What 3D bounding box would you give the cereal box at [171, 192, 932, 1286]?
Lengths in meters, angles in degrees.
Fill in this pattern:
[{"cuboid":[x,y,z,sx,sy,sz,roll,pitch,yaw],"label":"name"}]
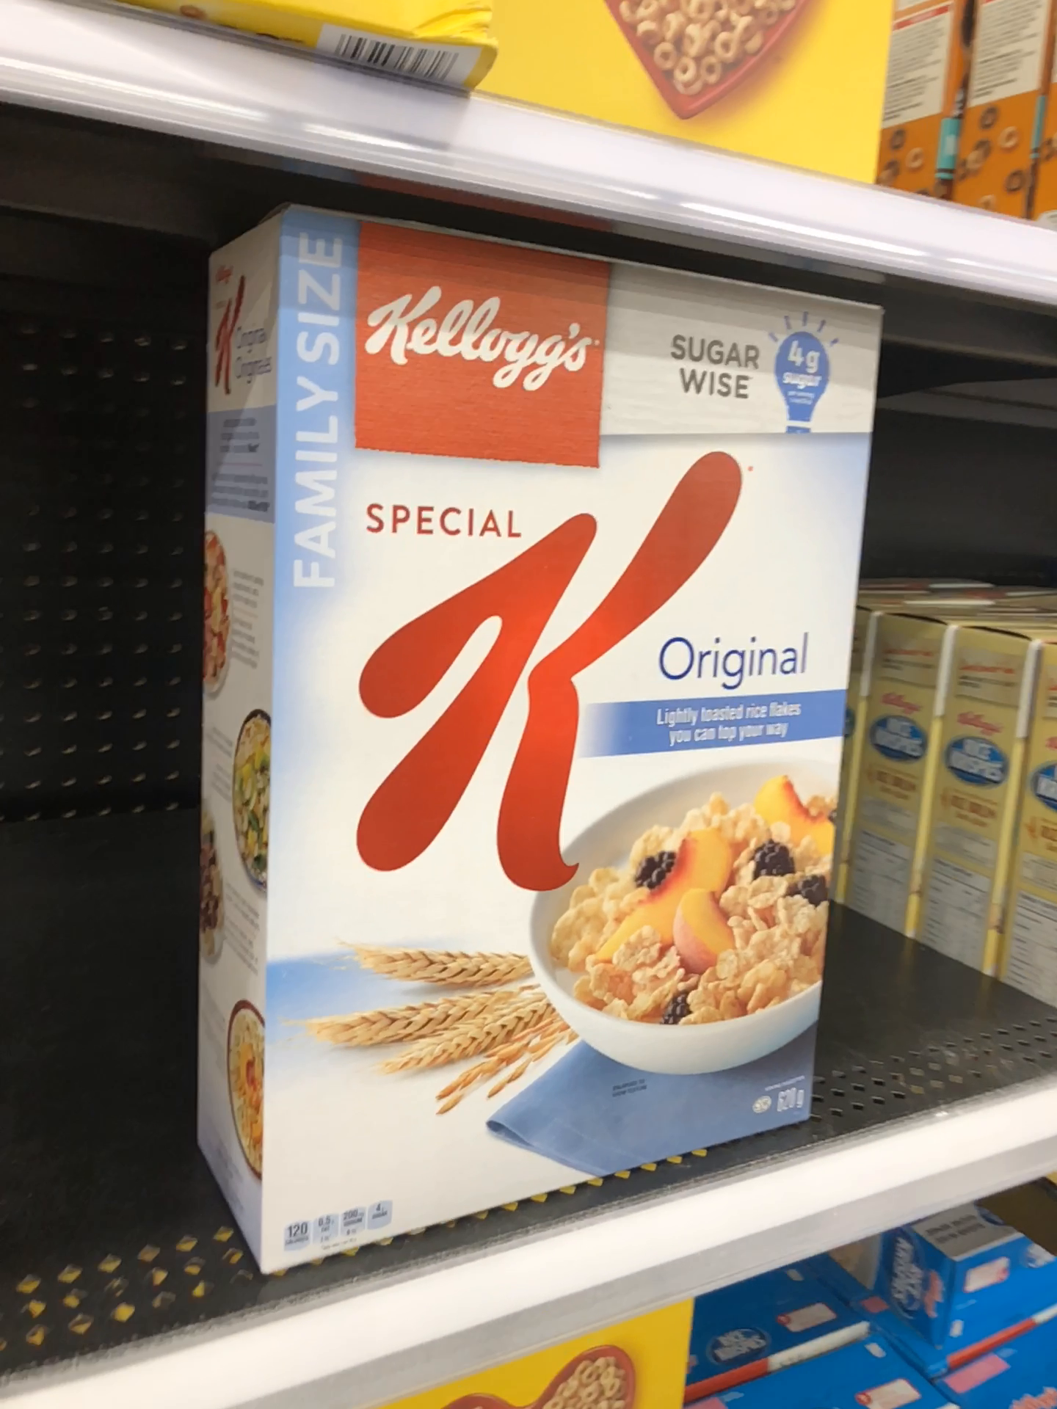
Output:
[{"cuboid":[0.009,0.010,0.440,0.260,0.329,0.080,-2,12,-30],"label":"cereal box"}]
